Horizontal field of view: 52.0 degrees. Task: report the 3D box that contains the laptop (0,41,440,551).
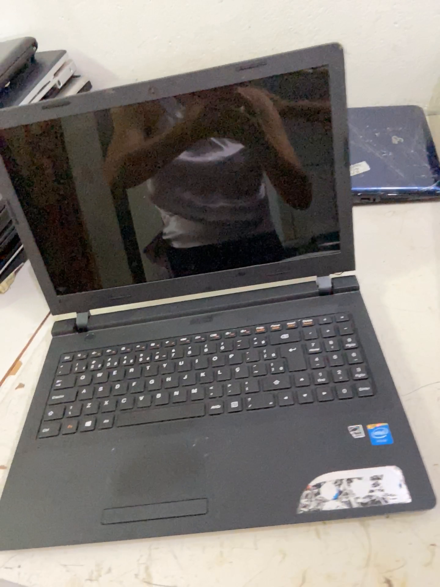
[{"bbox_3d":[-0.042,-0.010,0.408,0.375,0.230,0.339,-9,44,6],"label":"laptop"}]
